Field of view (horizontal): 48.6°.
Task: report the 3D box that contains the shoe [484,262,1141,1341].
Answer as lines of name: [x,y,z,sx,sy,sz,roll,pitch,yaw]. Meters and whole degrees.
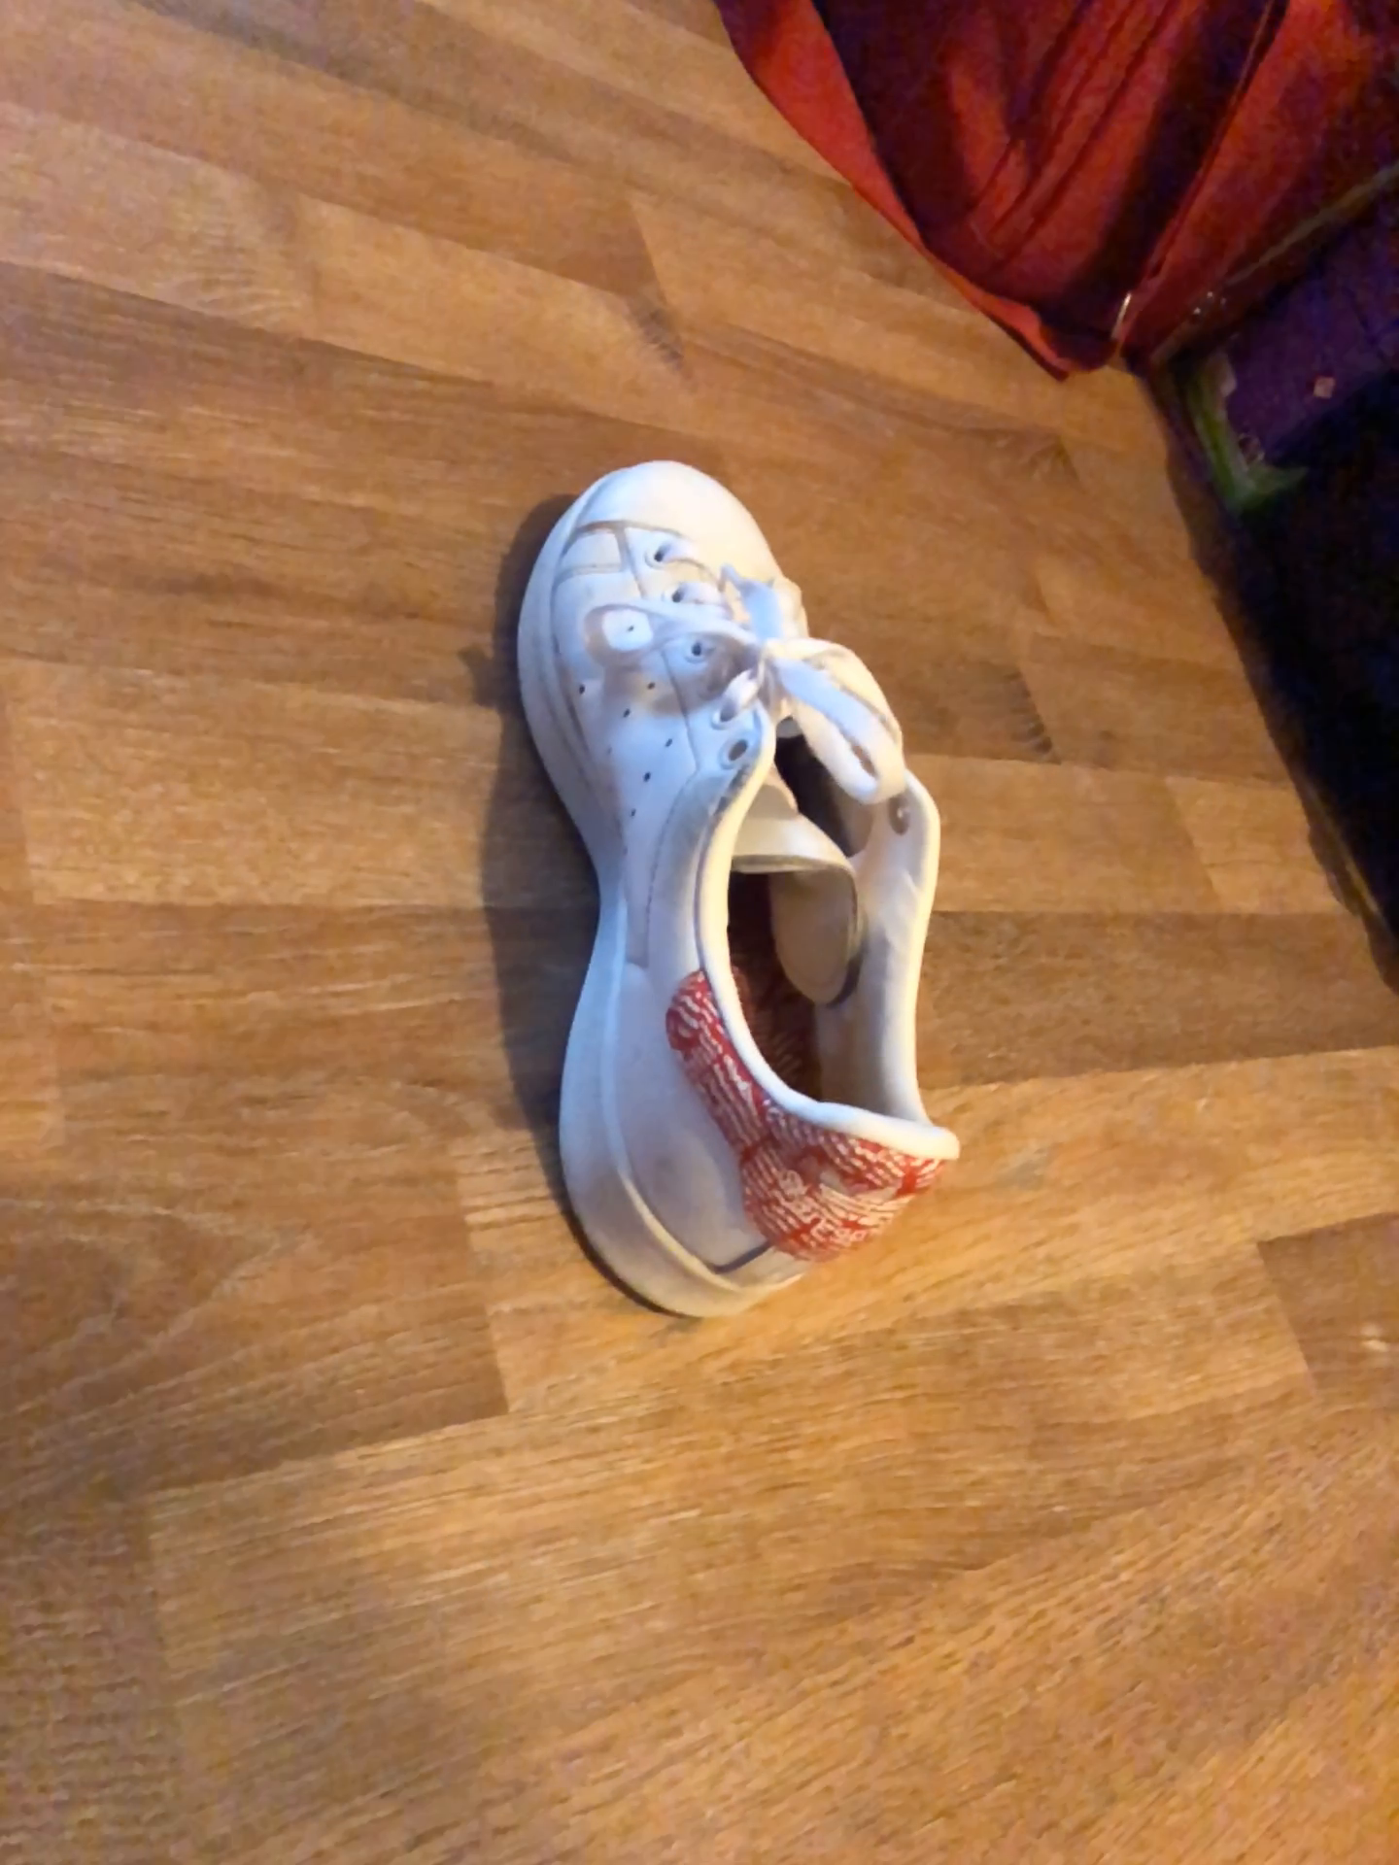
shoe: [0.014,-0.035,0.414,0.100,0.109,0.251,15,54,-32]
